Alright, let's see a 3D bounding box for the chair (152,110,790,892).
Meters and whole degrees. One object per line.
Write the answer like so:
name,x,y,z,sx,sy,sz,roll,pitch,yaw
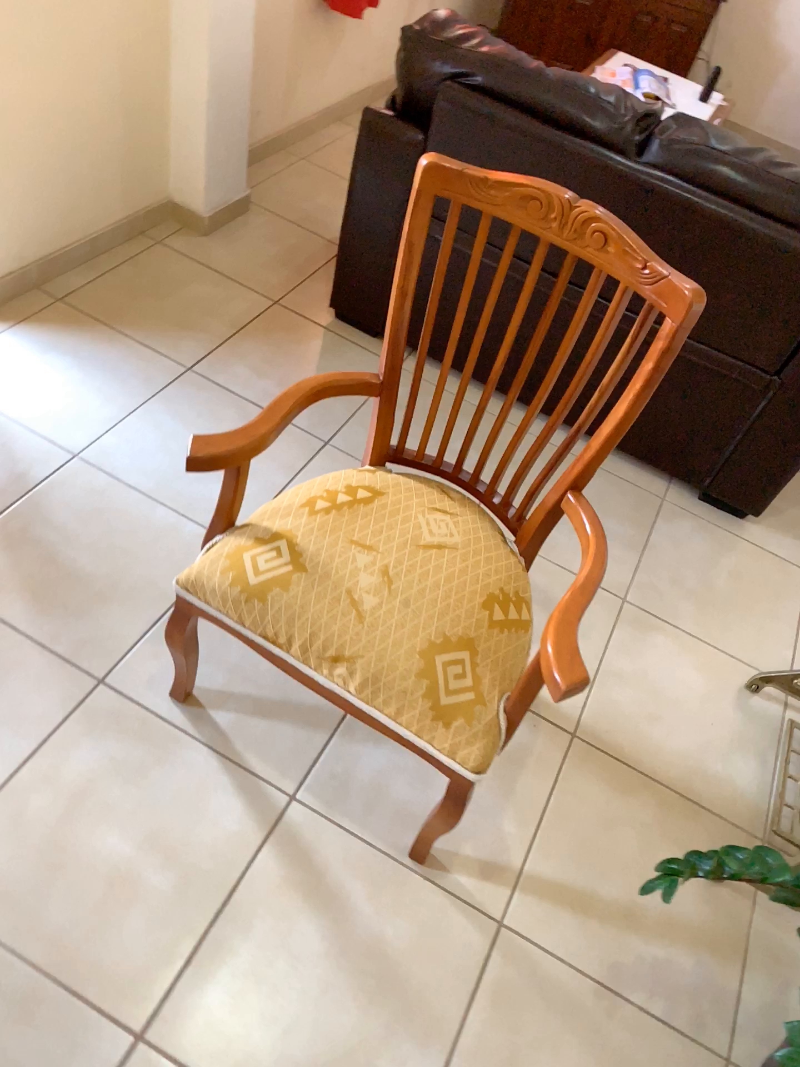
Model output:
chair,0.039,-0.005,1.393,0.620,1.015,0.633,30,47,10
